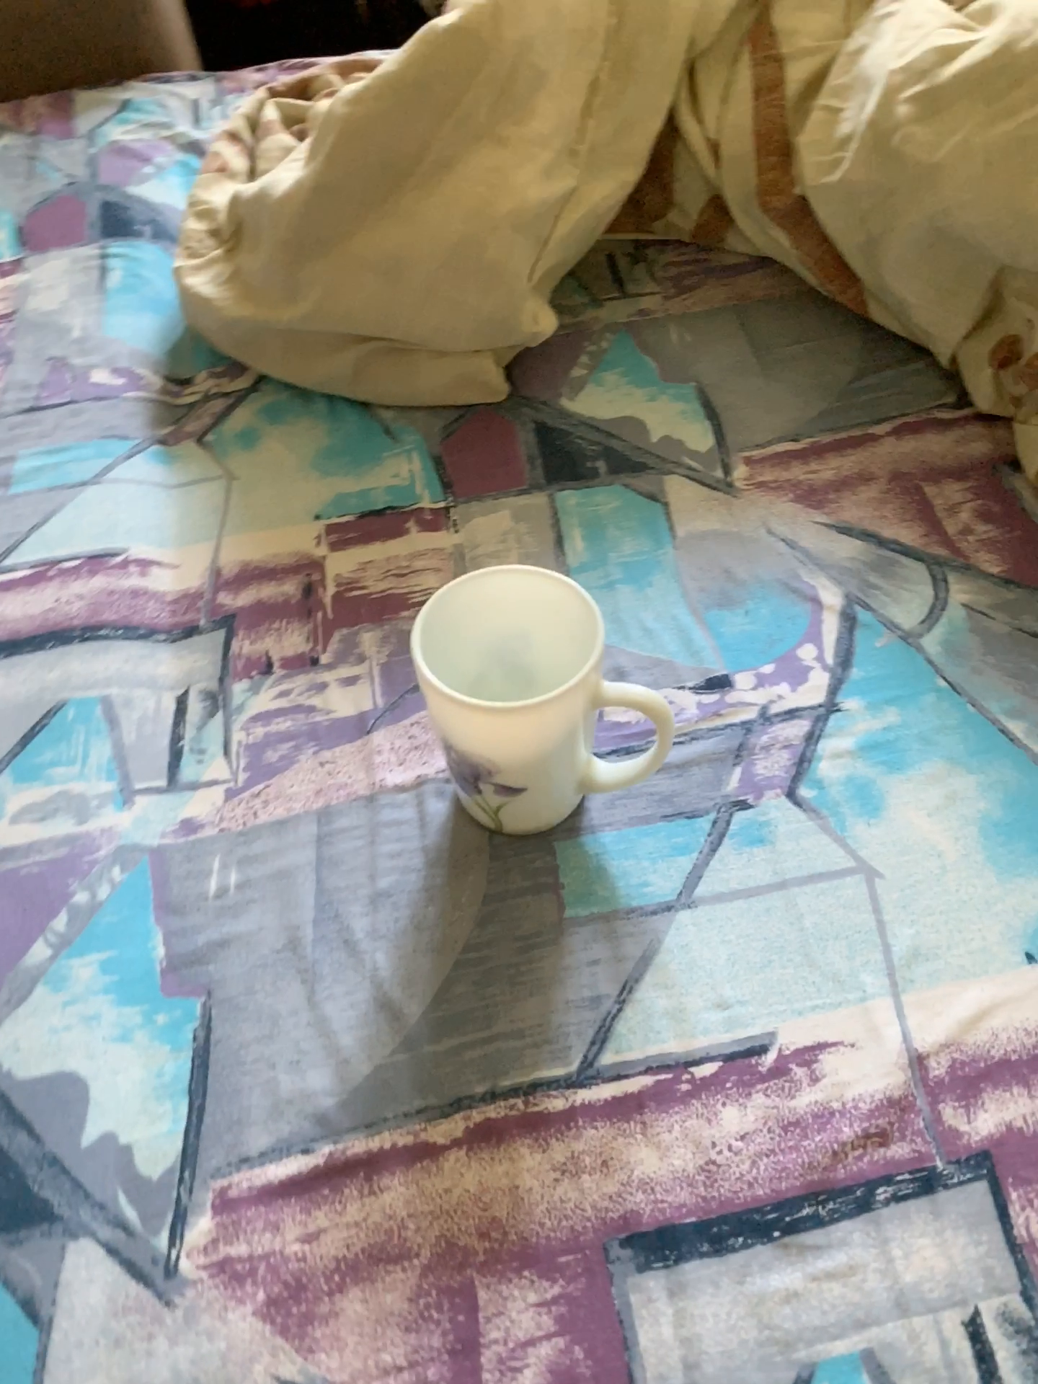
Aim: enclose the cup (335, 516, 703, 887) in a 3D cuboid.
[{"bbox_3d":[0.004,0.004,0.451,0.120,0.099,0.080,21,58,20],"label":"cup"}]
